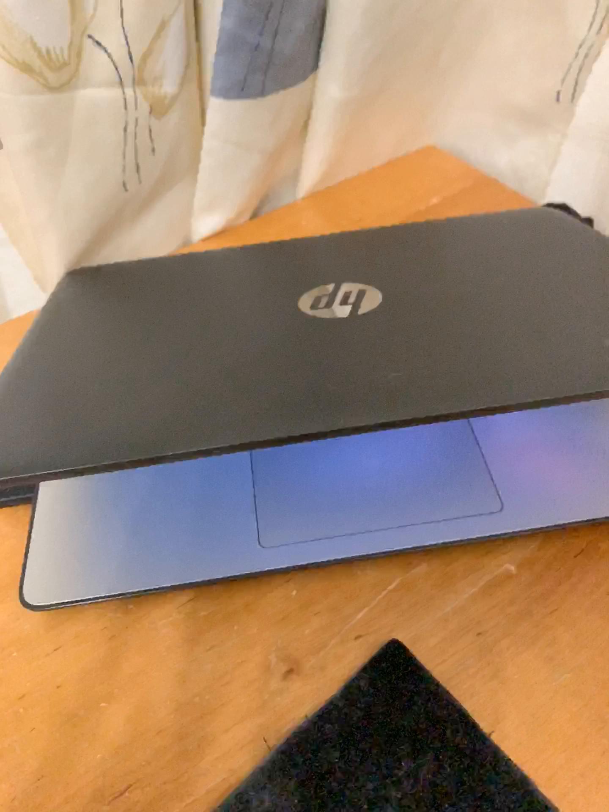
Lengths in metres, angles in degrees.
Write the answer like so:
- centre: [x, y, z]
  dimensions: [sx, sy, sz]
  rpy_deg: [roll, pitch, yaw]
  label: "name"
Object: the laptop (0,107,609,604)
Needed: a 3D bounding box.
- centre: [0.017, -0.040, 0.277]
  dimensions: [0.268, 0.066, 0.191]
  rpy_deg: [-8, 49, -3]
  label: "laptop"
